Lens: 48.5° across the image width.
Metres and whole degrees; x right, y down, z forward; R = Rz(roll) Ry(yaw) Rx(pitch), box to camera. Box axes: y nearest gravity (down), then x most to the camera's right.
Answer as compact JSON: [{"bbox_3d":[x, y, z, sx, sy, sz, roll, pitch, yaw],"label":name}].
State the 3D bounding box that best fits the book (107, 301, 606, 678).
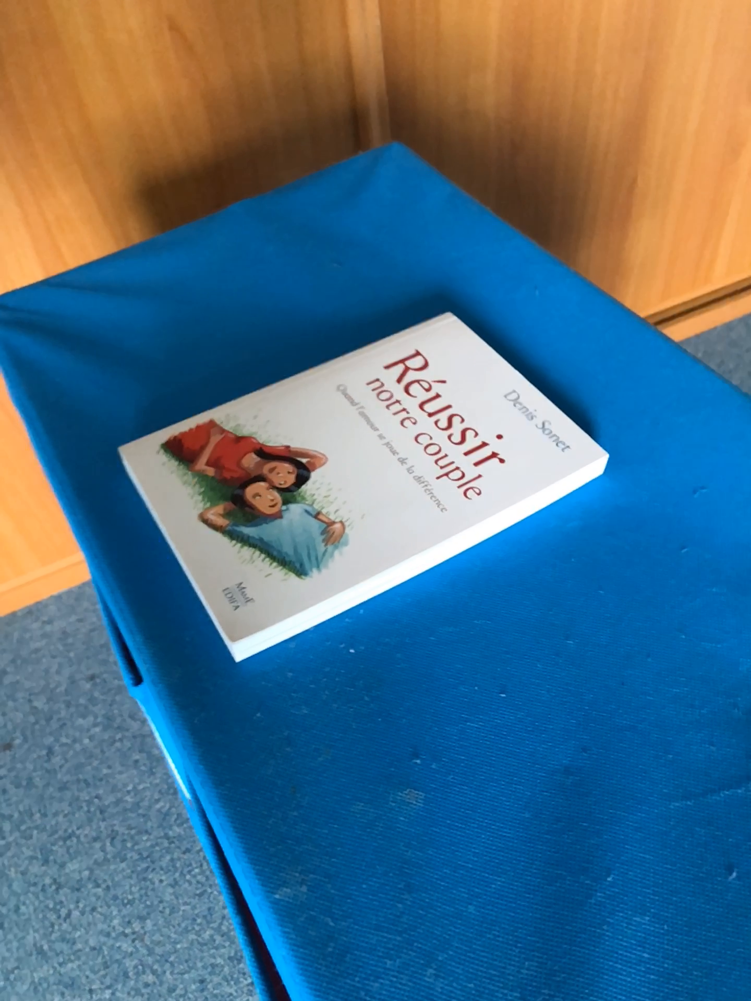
[{"bbox_3d":[-0.011,-0.019,0.386,0.186,0.016,0.135,-27,53,-17],"label":"book"}]
